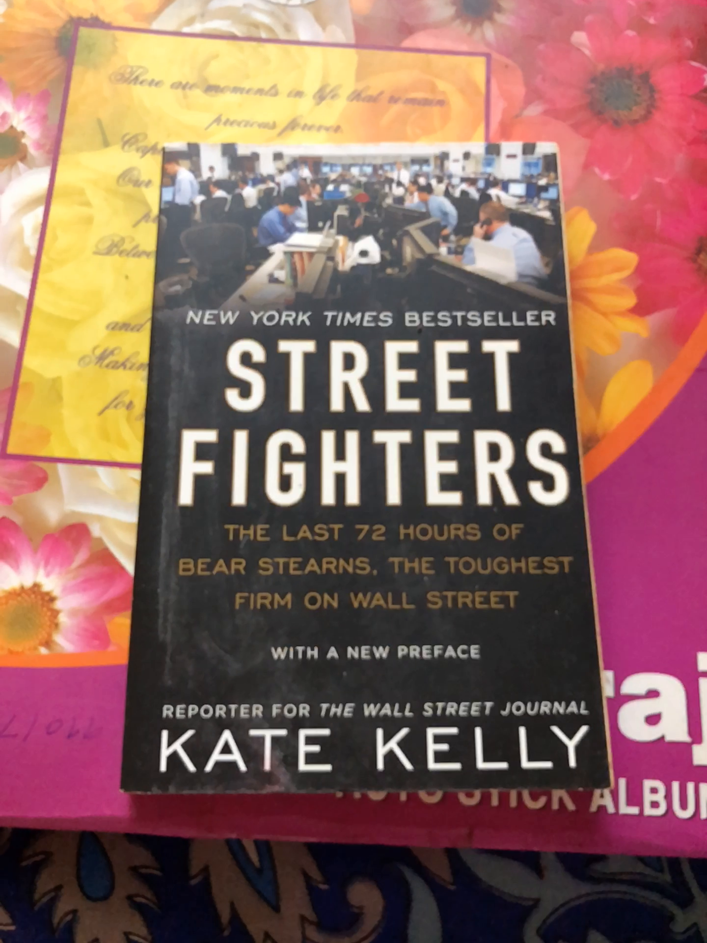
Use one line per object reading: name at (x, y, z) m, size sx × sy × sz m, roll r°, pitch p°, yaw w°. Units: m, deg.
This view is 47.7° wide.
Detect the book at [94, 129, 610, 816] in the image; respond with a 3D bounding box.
book at (-0.001, -0.006, 0.256) m, size 0.140 × 0.030 × 0.210 m, roll -1°, pitch 76°, yaw 3°
